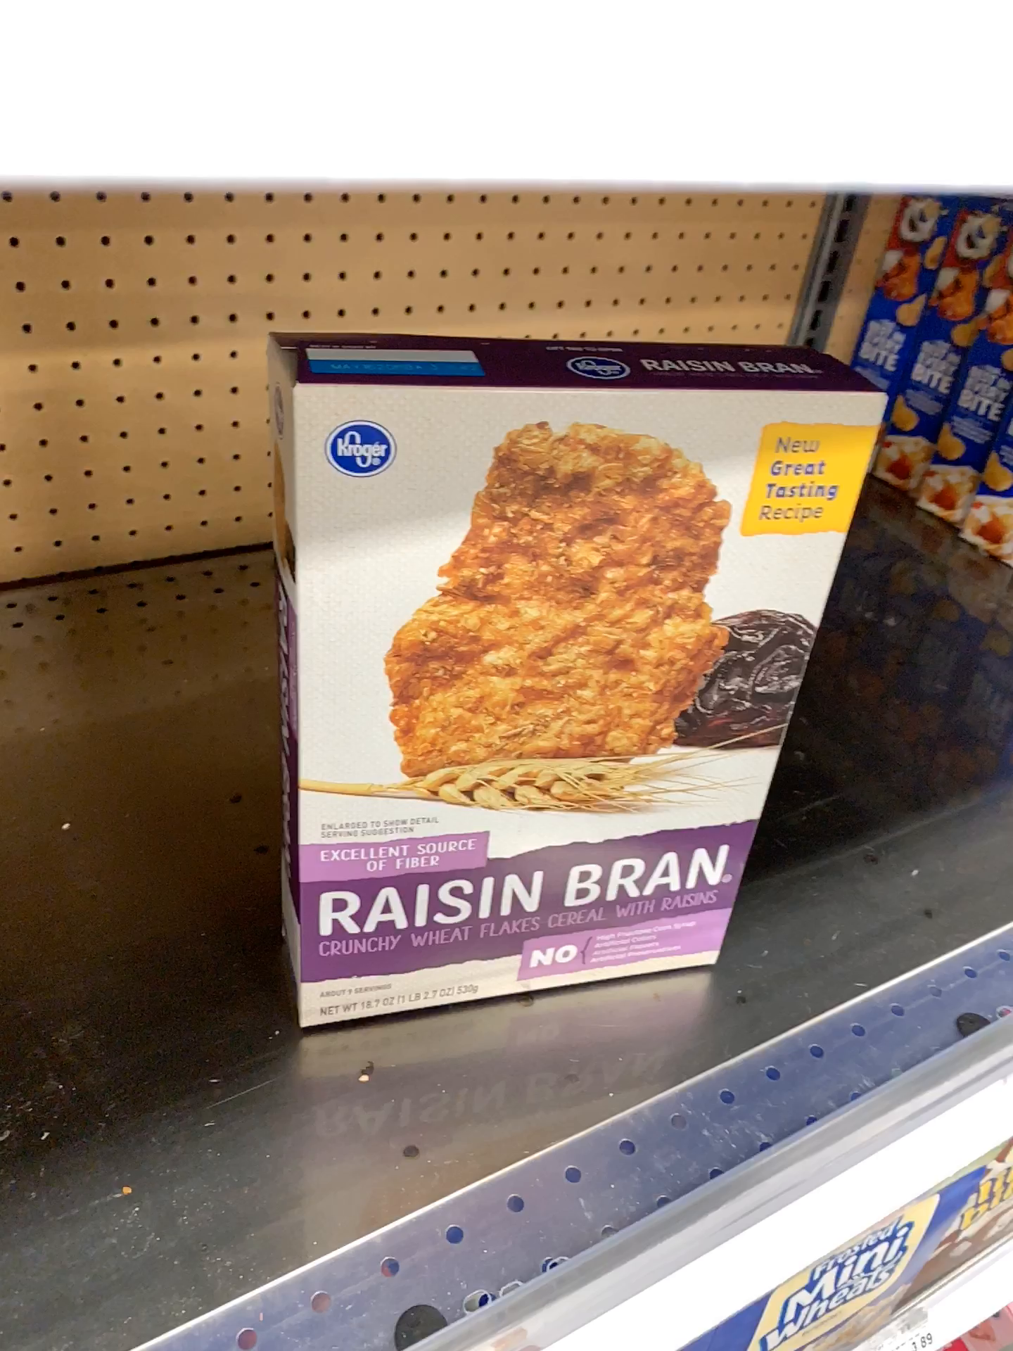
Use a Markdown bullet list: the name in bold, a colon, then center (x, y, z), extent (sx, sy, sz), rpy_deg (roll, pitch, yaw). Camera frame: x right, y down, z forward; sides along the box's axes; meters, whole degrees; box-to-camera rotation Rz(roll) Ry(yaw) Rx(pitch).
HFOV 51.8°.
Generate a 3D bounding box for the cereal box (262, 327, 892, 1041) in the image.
- **cereal box**: center (0.010, 0.014, 0.395), extent (0.190, 0.269, 0.050), rpy_deg (-5, 35, -17)
